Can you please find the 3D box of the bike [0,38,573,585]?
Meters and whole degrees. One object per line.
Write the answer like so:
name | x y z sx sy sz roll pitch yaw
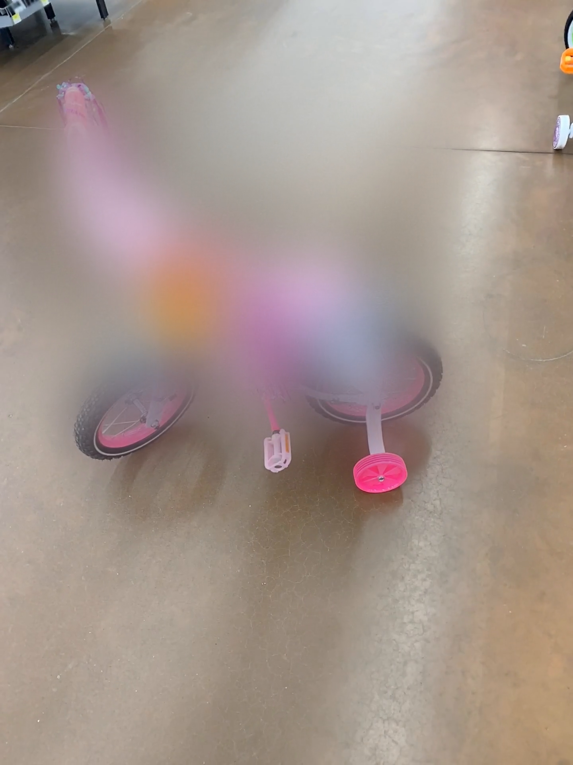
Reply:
bike | -0.059 -0.084 1.035 0.759 0.750 0.445 -14 48 -7
